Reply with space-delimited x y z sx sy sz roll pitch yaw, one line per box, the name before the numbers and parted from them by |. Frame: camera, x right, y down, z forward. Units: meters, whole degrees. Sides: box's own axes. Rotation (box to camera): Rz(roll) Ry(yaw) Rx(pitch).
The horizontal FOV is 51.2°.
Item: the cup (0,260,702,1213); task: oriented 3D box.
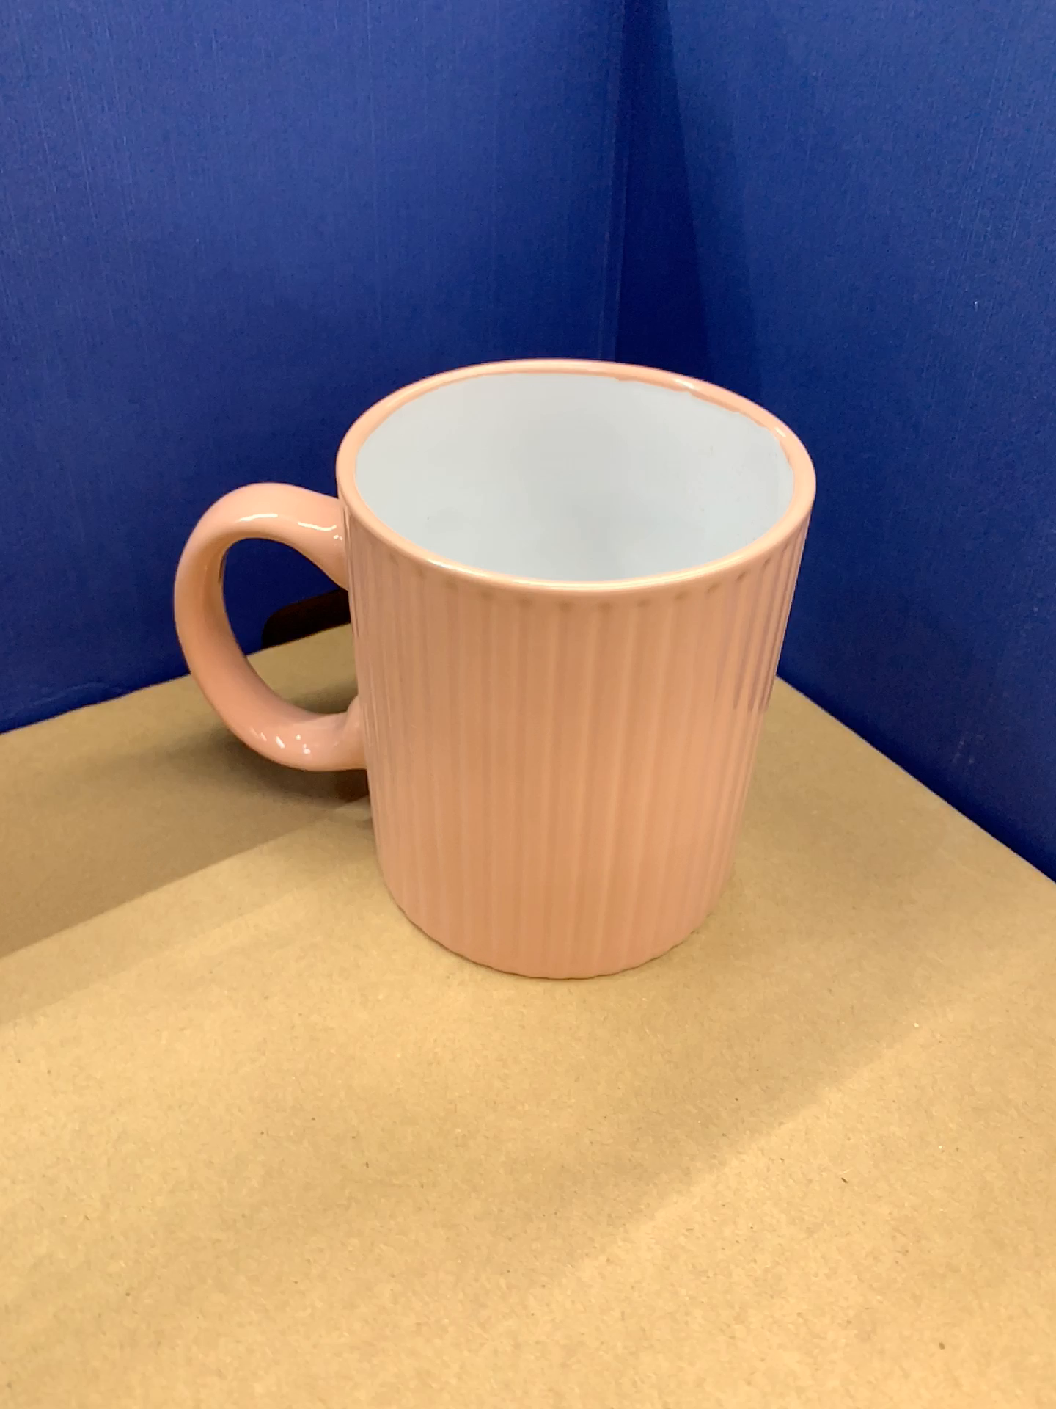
cup | -0.054 -0.004 0.209 0.154 0.128 0.102 7 29 8
